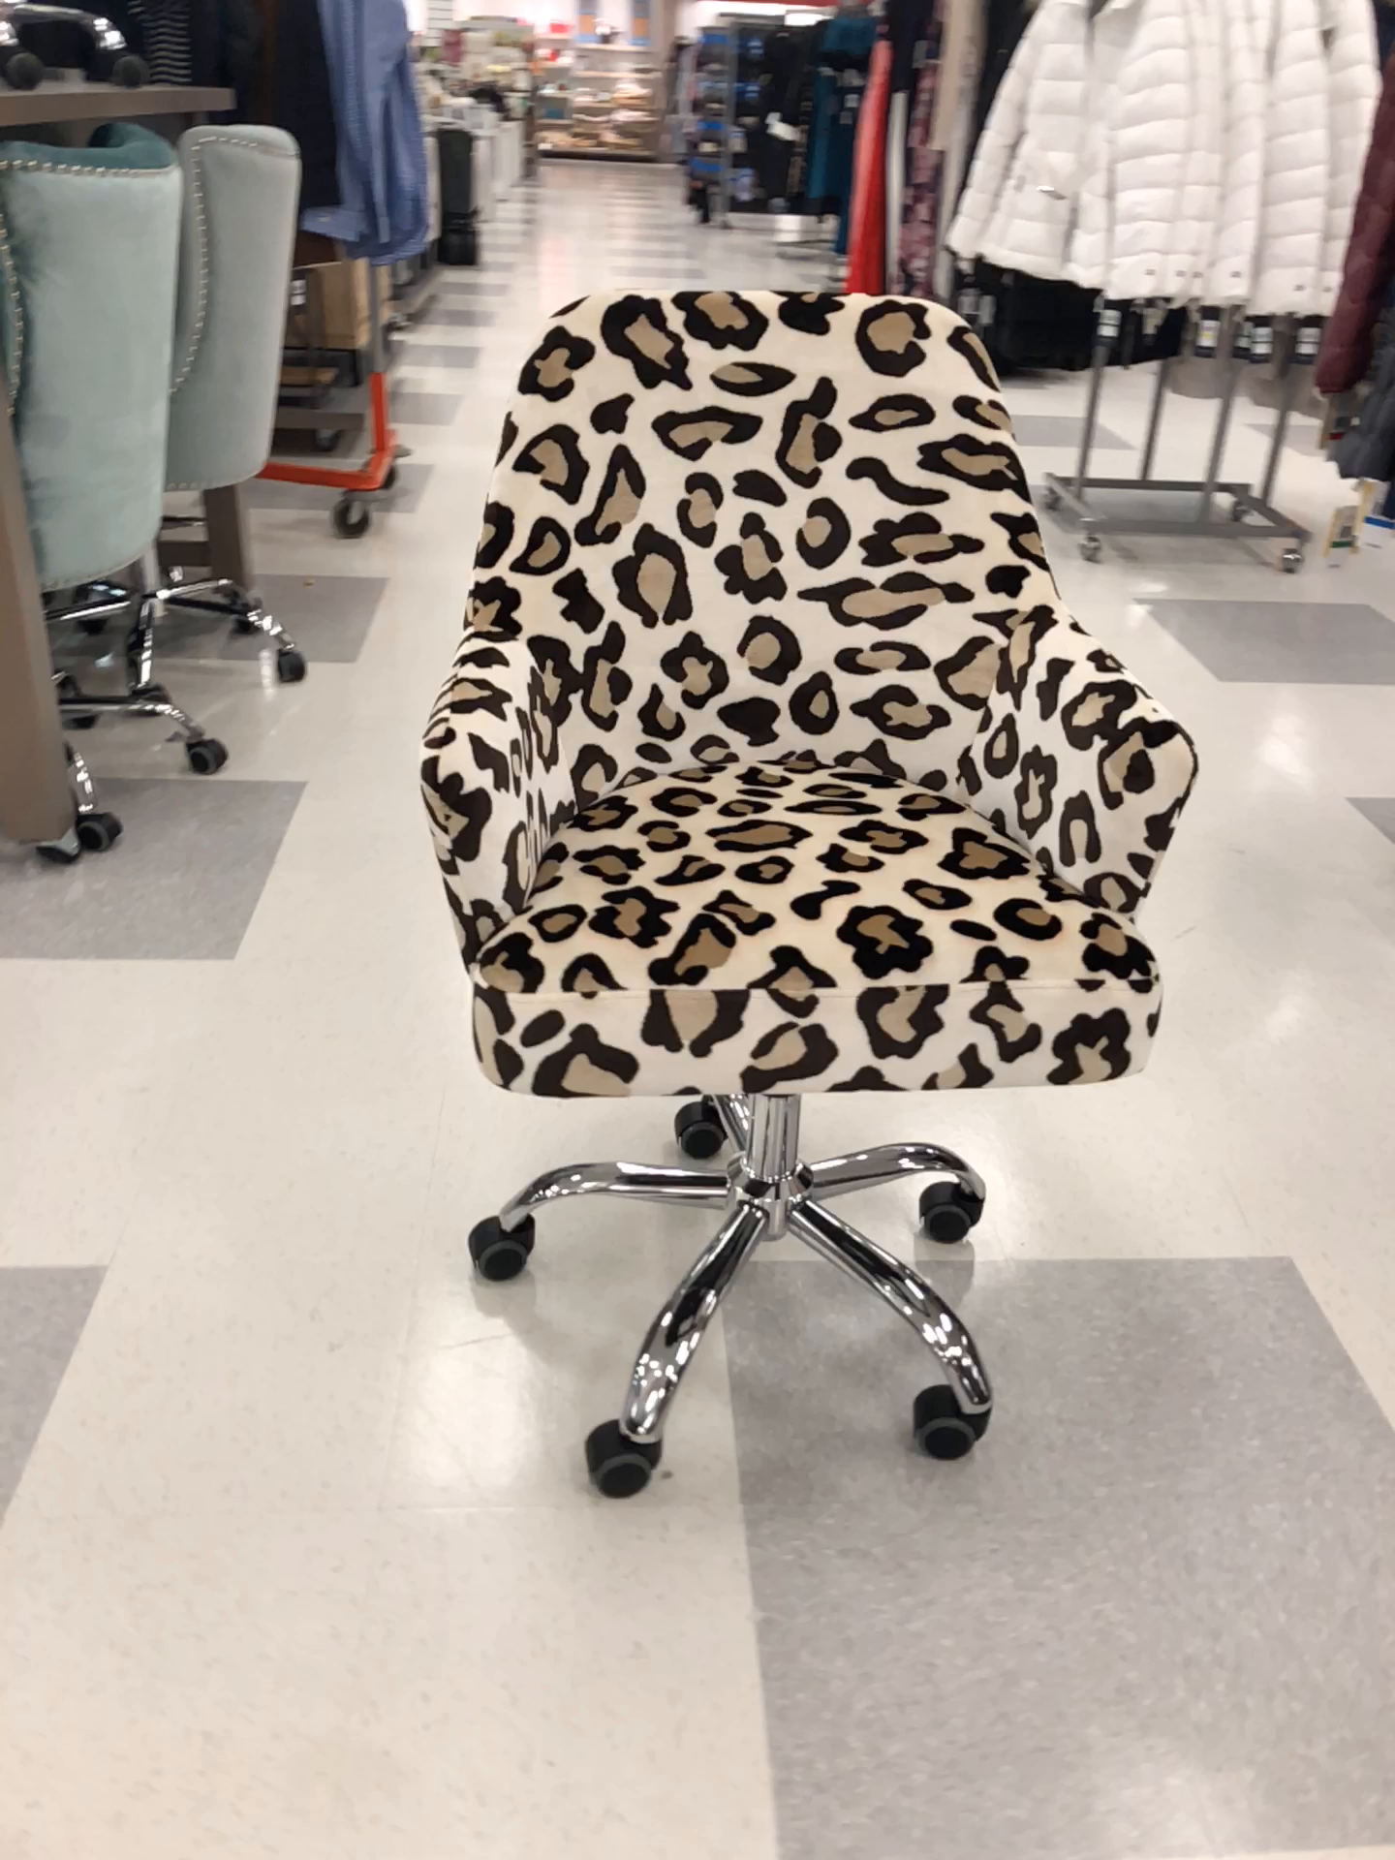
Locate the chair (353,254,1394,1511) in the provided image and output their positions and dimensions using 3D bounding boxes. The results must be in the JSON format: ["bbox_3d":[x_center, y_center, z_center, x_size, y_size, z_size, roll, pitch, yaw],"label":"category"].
[{"bbox_3d":[0.068,-0.060,1.313,0.599,0.887,0.582,0,28,-5],"label":"chair"}]
